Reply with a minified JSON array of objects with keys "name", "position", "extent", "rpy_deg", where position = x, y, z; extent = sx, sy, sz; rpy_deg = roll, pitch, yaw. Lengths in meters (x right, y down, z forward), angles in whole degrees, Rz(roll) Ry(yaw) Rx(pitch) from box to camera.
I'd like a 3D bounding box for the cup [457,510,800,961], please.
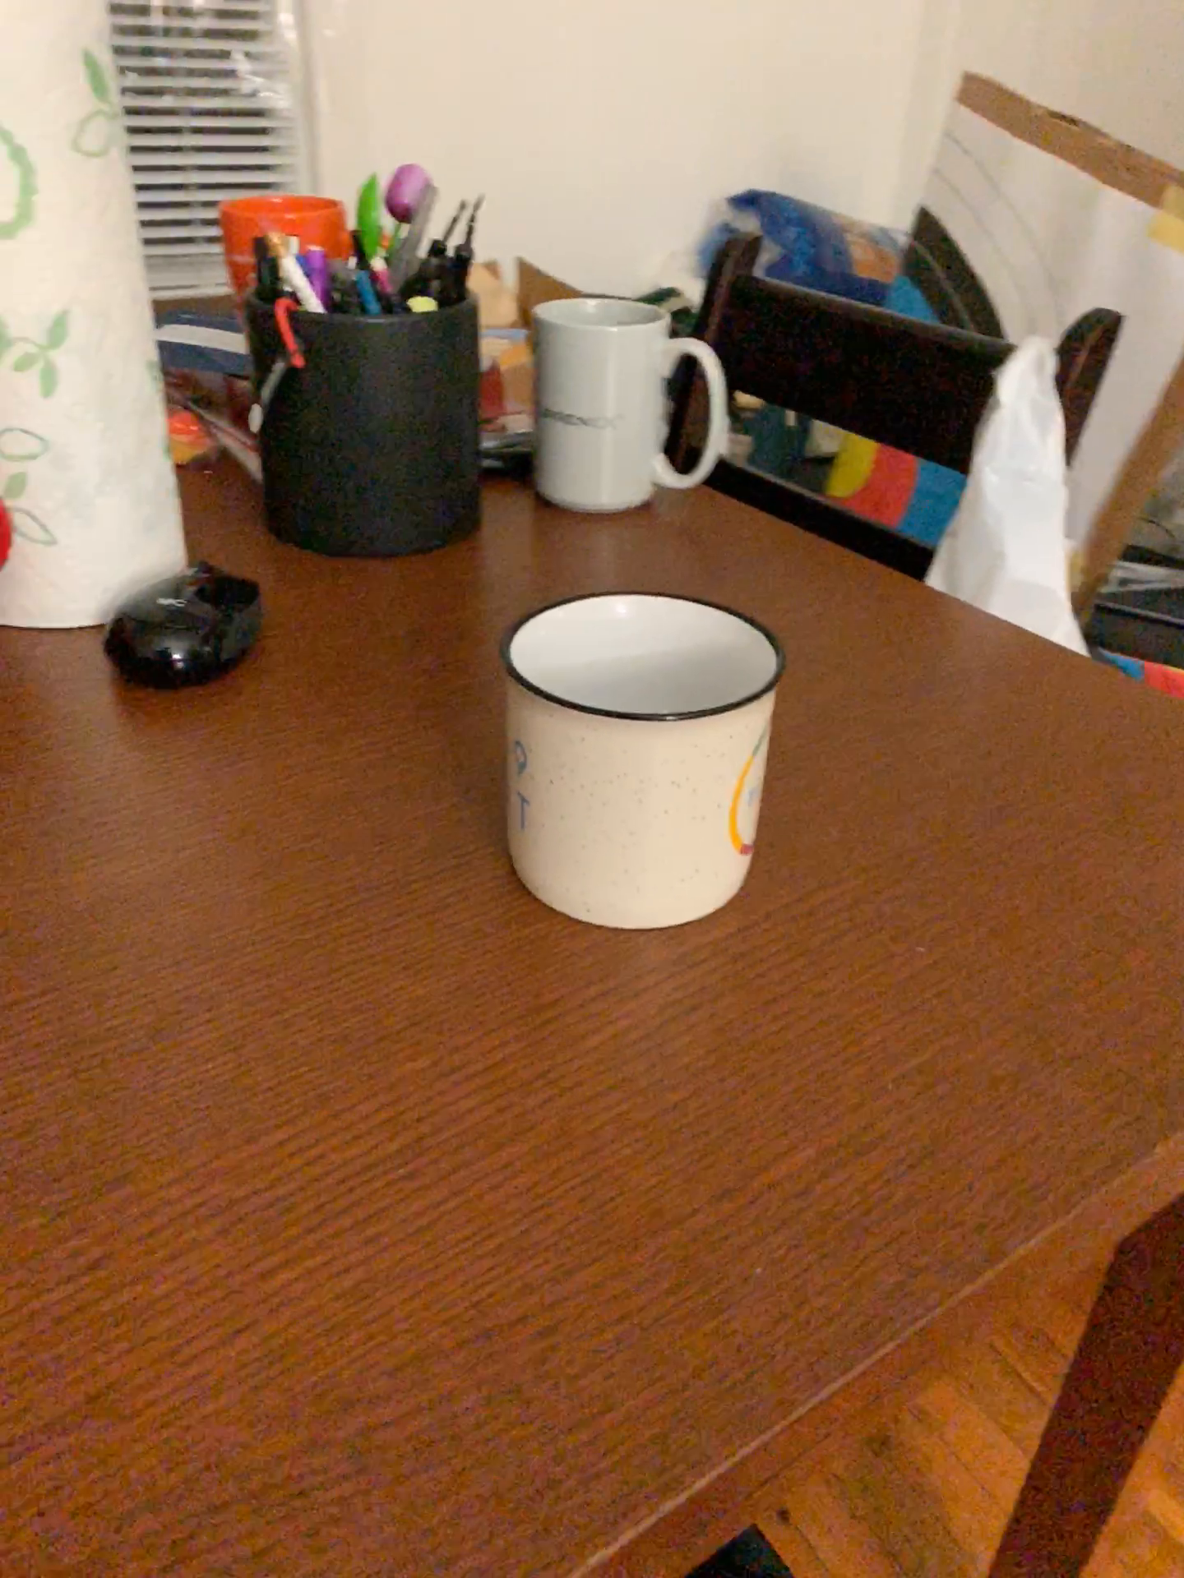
[{"name":"cup","position":[0.019,-0.028,0.463],"extent":[0.100,0.099,0.151],"rpy_deg":[8,32,8]}]
